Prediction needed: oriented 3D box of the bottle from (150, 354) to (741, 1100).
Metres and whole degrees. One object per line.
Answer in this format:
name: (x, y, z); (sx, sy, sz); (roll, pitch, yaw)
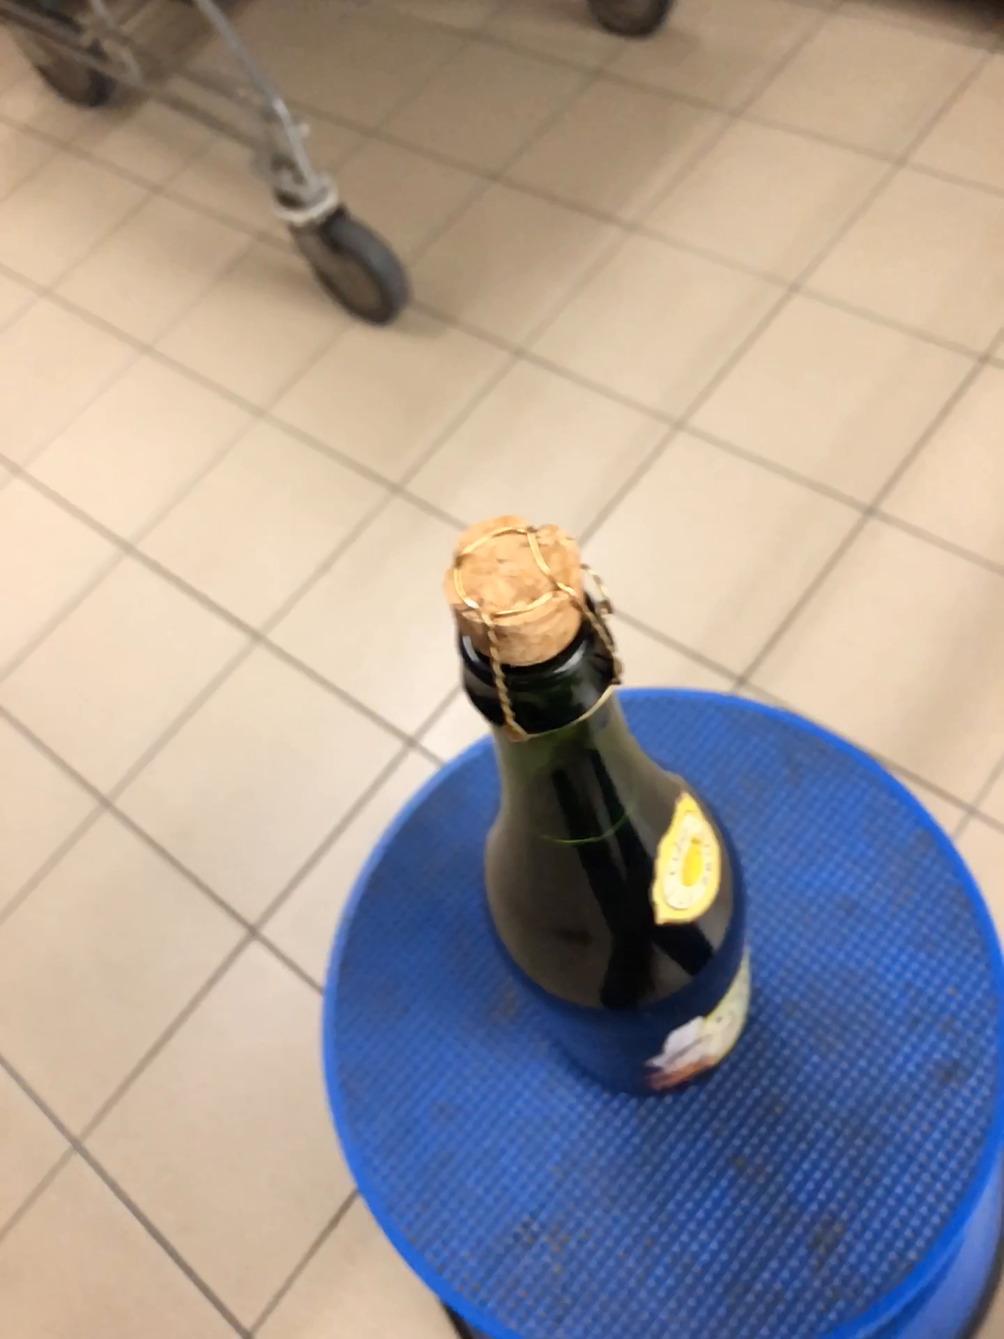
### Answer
bottle: (0.020, 0.052, 0.331); (0.090, 0.299, 0.090); (-6, 60, 11)
